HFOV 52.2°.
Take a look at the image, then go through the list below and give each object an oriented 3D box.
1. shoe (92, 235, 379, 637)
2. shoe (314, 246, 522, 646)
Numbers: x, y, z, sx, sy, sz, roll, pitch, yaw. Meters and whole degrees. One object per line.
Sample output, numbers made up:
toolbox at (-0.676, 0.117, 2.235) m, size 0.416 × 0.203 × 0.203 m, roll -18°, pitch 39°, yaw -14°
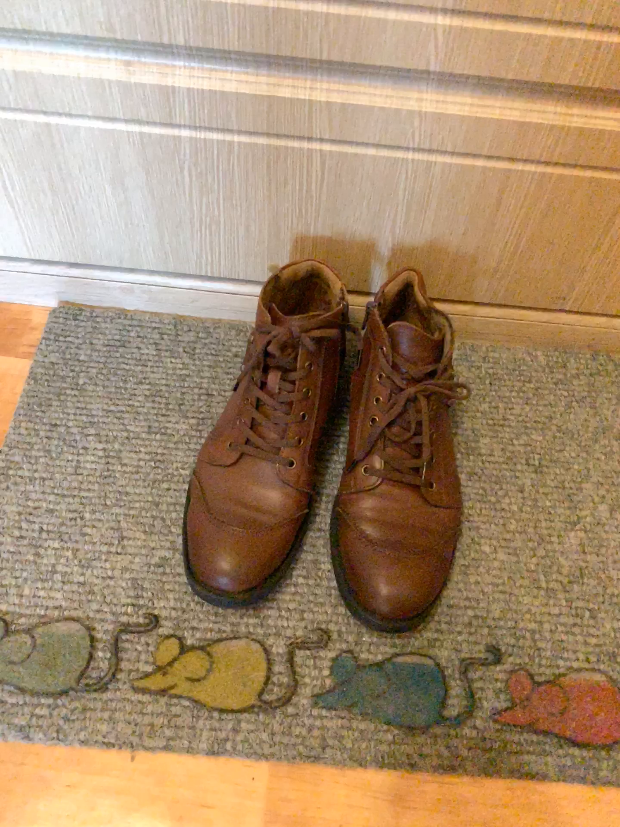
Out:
shoe at (-0.041, 0.012, 0.495) m, size 0.110 × 0.140 × 0.261 m, roll 17°, pitch 57°, yaw 7°
shoe at (0.070, 0.021, 0.494) m, size 0.110 × 0.140 × 0.271 m, roll 5°, pitch 57°, yaw -1°
